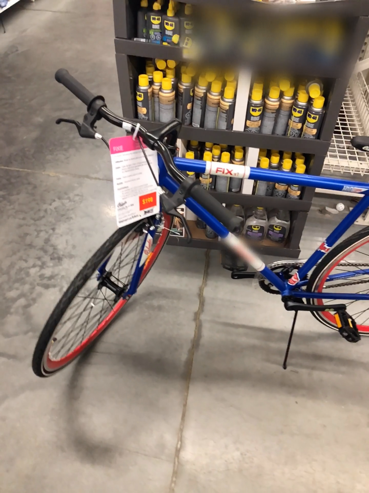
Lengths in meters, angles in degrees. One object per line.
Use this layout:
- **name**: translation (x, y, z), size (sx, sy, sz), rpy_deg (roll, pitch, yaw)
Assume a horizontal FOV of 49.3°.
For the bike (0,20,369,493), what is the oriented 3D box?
- **bike**: translation (0.355, 0.076, 1.060), size (1.490, 0.937, 0.605), rpy_deg (-4, 47, -12)
